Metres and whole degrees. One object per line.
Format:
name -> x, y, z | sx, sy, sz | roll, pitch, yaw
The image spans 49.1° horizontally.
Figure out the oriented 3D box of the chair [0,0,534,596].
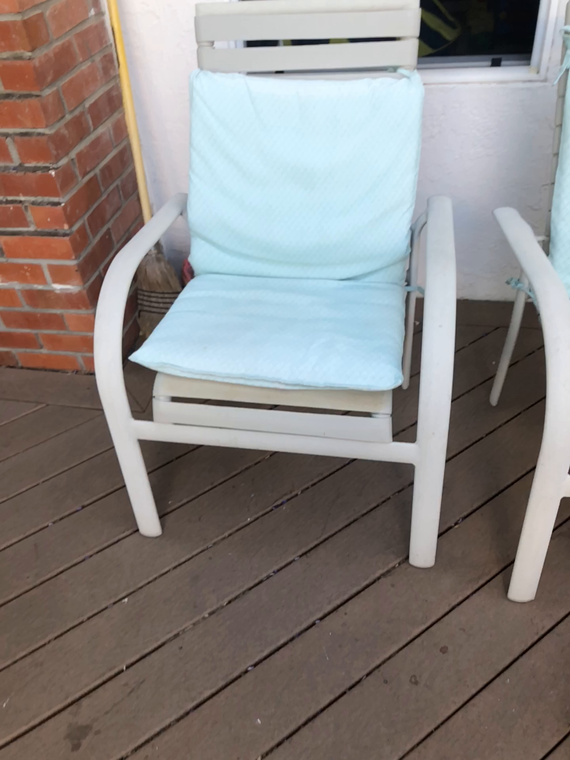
chair -> 0.039, -0.240, 1.466 | 0.740, 0.994, 0.976 | 3, 42, 10
